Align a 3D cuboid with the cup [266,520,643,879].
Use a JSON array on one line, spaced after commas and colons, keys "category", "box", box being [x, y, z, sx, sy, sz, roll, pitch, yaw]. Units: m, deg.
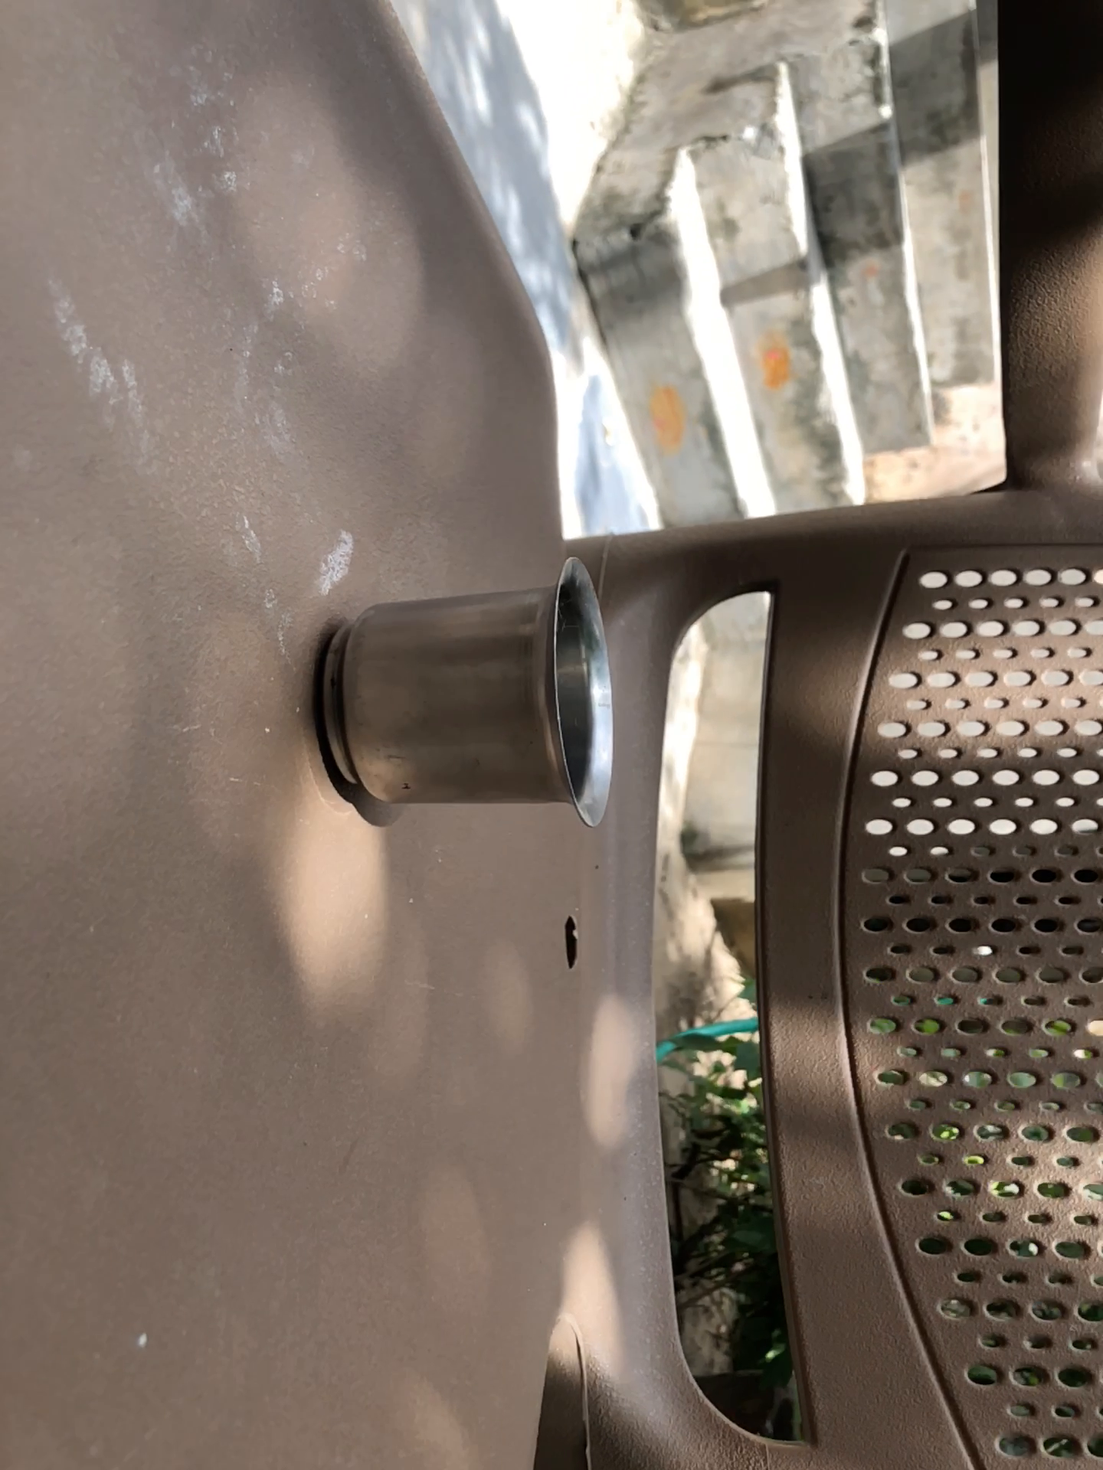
[{"category": "cup", "box": [-0.019, -0.009, 0.295, 0.060, 0.060, 0.060, -7, 90, -71]}]
